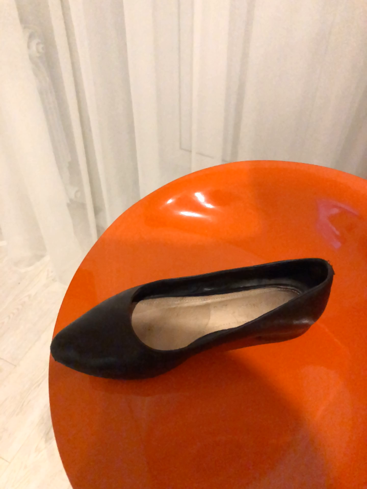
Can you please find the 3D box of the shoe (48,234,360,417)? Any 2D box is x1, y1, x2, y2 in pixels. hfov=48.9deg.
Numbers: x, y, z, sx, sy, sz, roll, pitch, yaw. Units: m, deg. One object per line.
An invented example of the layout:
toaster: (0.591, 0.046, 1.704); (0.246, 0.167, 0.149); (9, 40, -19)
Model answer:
shoe: (0.015, 0.072, 0.385); (0.260, 0.079, 0.091); (-10, 47, -10)
